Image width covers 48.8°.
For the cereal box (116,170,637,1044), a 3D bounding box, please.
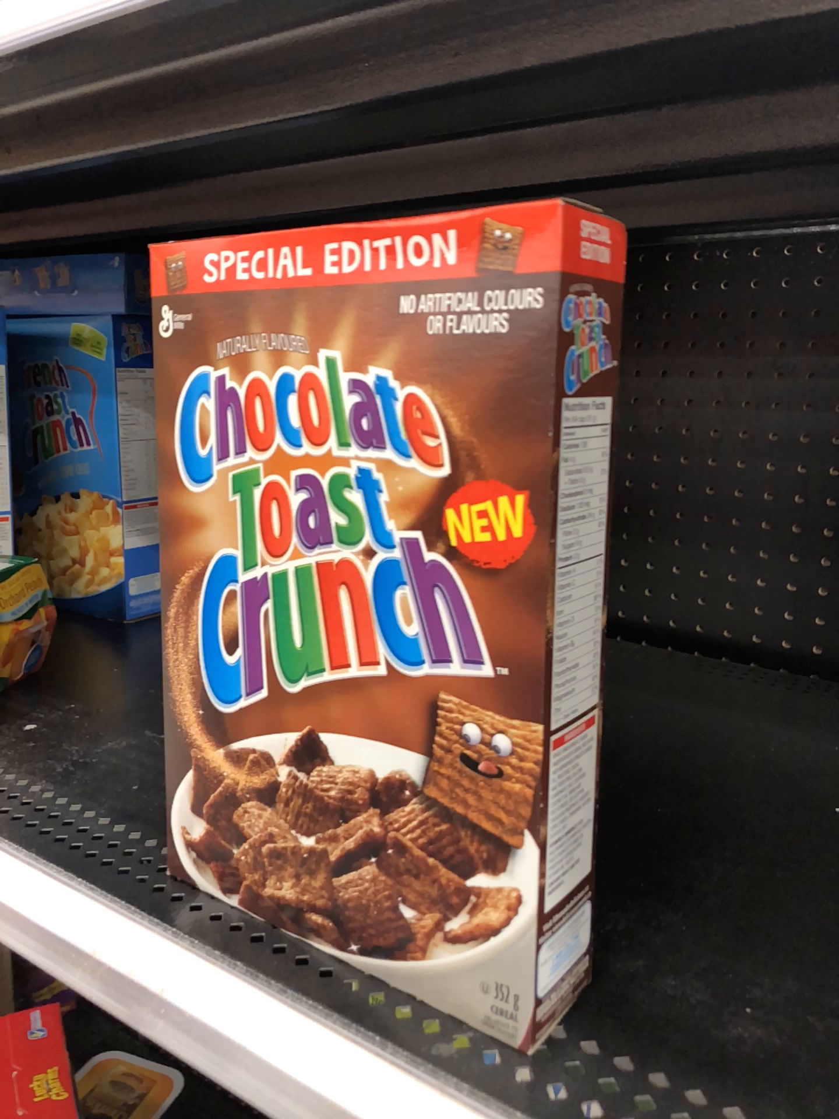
[{"bbox_3d":[-0.029,0.009,0.356,0.200,0.269,0.050,8,12,35],"label":"cereal box"}]
